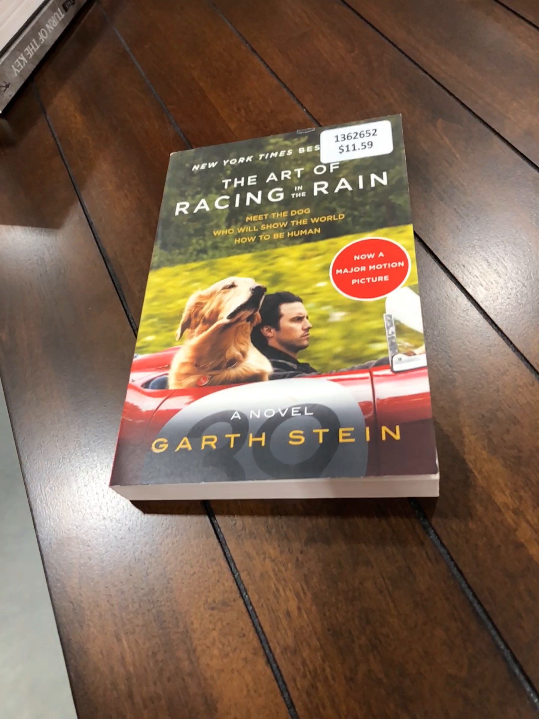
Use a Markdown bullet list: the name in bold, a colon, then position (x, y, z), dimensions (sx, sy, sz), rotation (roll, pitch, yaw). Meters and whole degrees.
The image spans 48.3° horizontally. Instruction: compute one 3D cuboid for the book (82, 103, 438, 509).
- **book**: position (0.000, -0.036, 0.295), dimensions (0.140, 0.028, 0.210), rotation (-5, 58, 13)
